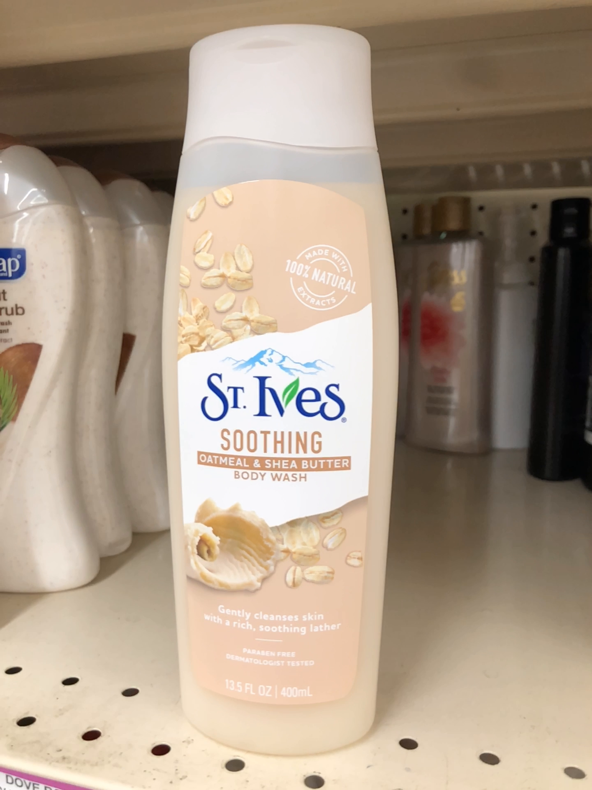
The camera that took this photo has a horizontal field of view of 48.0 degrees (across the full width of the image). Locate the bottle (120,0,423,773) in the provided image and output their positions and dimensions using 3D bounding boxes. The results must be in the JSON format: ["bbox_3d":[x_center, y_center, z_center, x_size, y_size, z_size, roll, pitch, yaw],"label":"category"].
[{"bbox_3d":[-0.003,-0.003,0.216,0.080,0.230,0.050,1,10,10],"label":"bottle"}]
